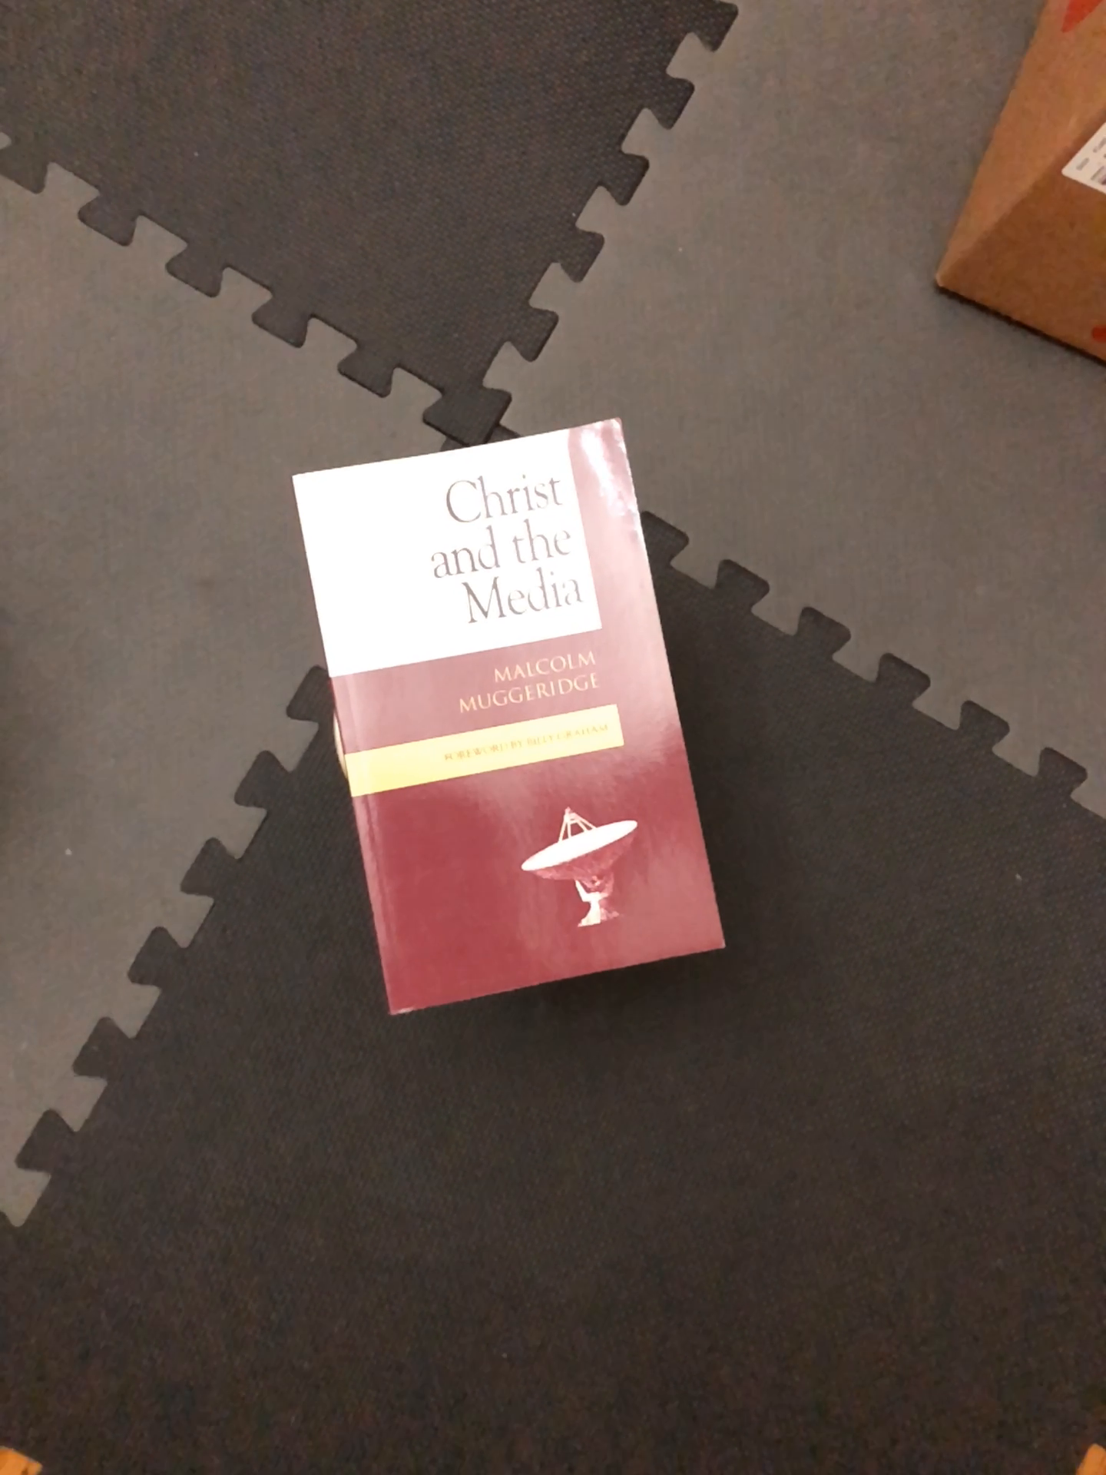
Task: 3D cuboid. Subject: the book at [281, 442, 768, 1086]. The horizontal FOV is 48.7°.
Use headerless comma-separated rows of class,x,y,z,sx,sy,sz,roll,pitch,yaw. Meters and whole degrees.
book,-0.011,0.007,0.449,0.140,0.020,0.210,-10,87,-5
